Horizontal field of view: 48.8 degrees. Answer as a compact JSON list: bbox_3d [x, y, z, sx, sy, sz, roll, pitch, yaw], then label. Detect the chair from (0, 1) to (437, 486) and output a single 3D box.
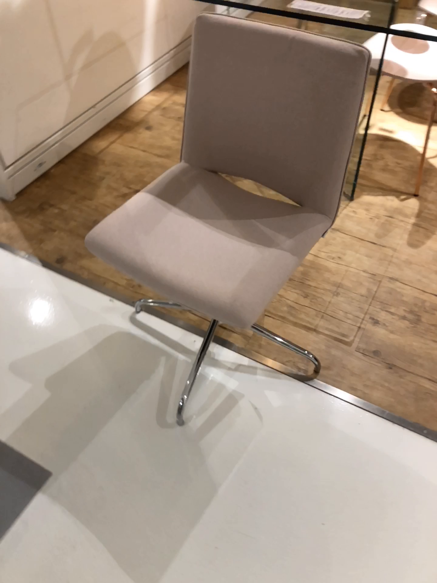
[{"bbox_3d":[0.021,-0.124,1.140,0.651,0.745,0.633,24,54,22],"label":"chair"}]
